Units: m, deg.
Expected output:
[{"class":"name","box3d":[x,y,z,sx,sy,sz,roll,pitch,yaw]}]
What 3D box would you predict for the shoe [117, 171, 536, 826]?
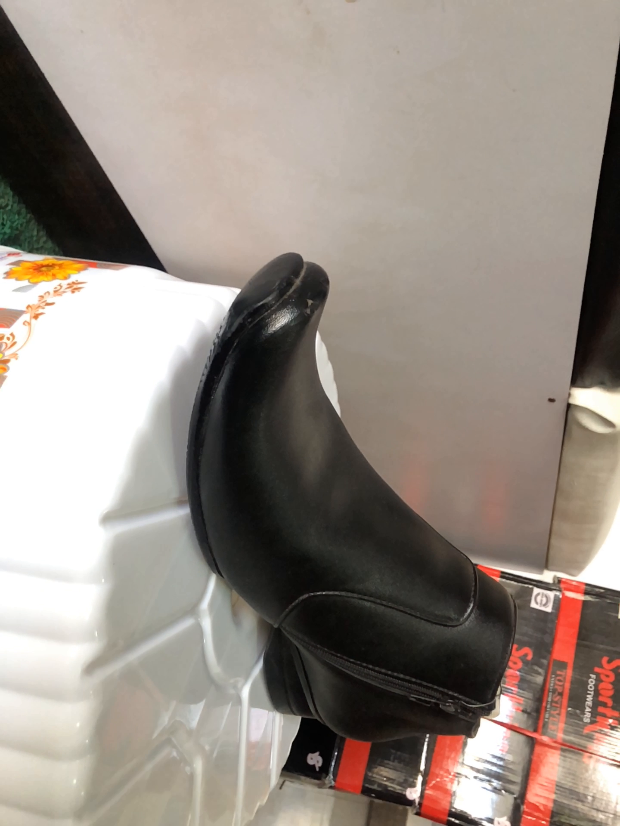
[{"class":"shoe","box3d":[0.035,0.062,0.331,0.120,0.119,0.311,-62,150,-50]}]
